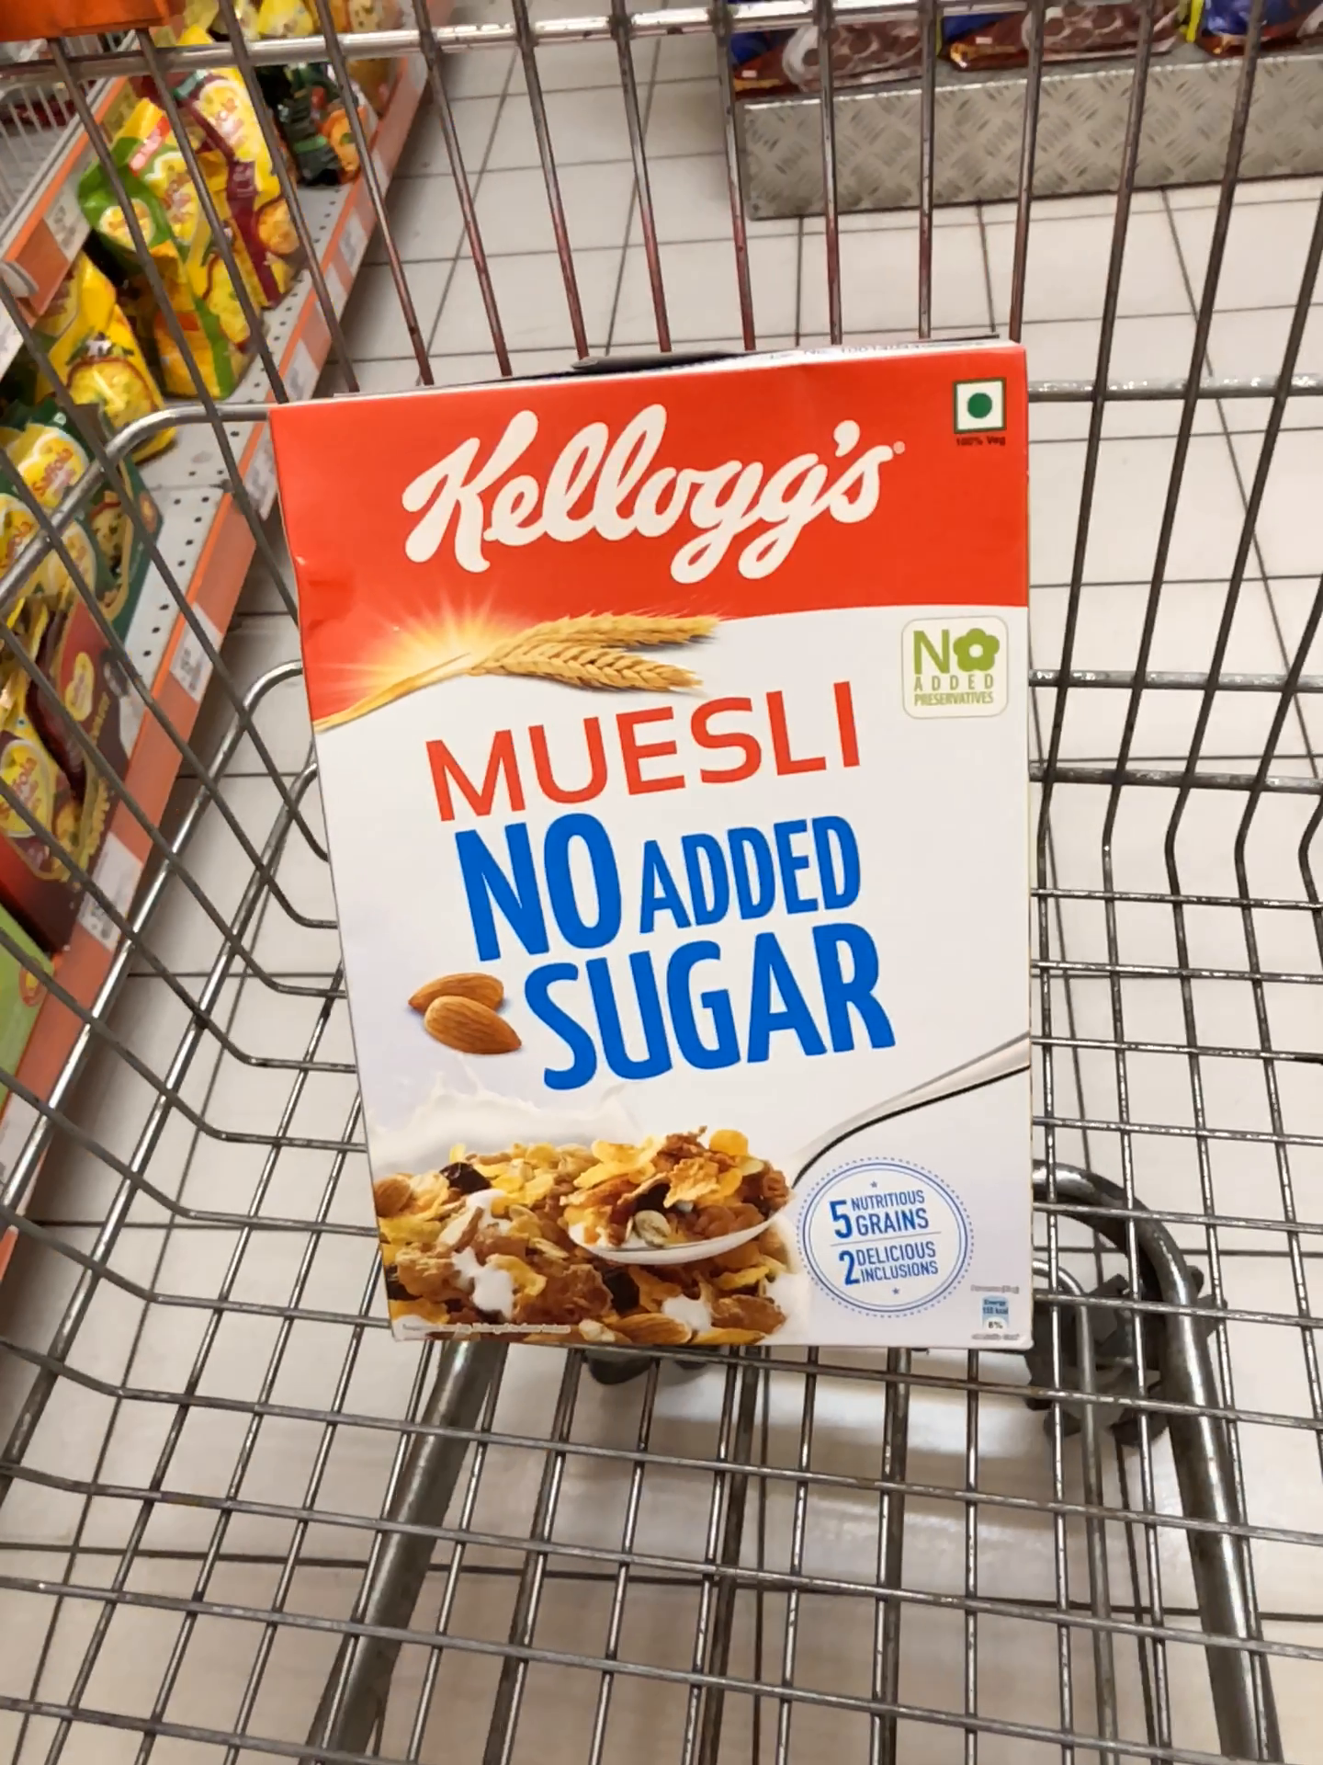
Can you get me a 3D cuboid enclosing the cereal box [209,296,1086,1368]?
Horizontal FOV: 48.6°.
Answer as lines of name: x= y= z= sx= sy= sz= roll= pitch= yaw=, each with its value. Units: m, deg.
cereal box: x=0.005 y=-0.007 z=0.386 sx=0.190 sy=0.259 sz=0.070 roll=-1 pitch=18 yaw=8
